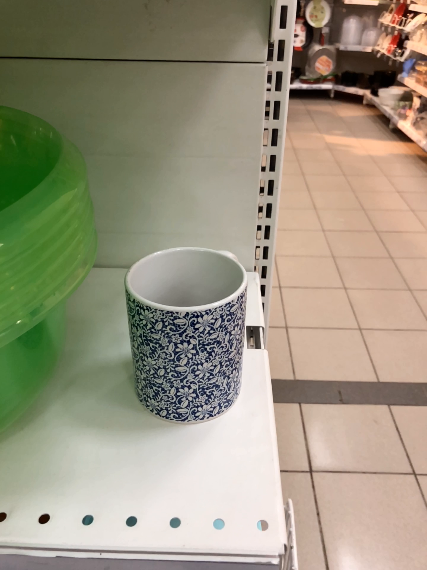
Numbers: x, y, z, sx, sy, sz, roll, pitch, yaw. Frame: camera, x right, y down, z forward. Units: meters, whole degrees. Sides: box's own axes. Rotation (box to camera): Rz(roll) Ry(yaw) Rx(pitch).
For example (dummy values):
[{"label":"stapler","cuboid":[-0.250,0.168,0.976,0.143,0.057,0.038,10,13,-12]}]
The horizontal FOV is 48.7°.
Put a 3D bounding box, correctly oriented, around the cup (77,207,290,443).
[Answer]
[{"label":"cup","cuboid":[-0.014,0.020,0.361,0.097,0.098,0.138,14,35,21]}]
